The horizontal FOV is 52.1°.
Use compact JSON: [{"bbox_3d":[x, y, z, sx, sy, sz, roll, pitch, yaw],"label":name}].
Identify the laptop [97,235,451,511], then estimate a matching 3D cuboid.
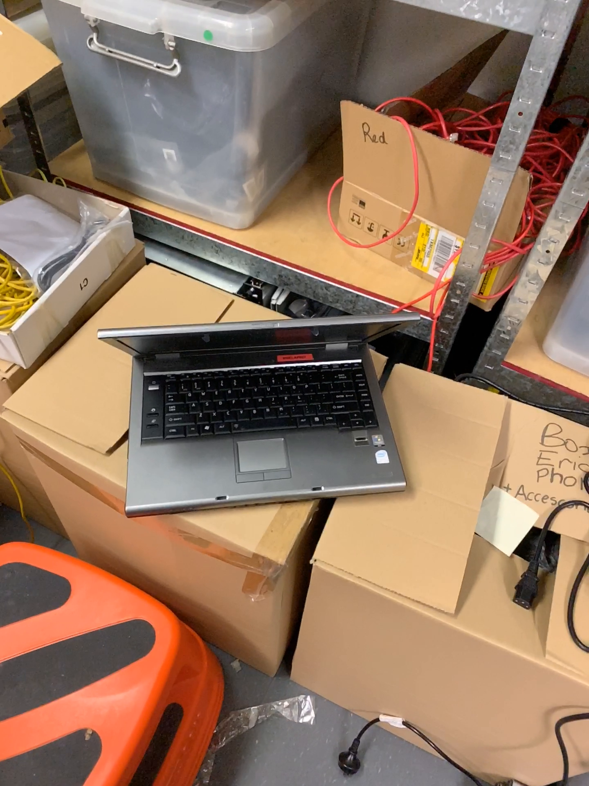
[{"bbox_3d":[-0.040,-0.029,0.755,0.352,0.203,0.254,-4,52,-6],"label":"laptop"}]
